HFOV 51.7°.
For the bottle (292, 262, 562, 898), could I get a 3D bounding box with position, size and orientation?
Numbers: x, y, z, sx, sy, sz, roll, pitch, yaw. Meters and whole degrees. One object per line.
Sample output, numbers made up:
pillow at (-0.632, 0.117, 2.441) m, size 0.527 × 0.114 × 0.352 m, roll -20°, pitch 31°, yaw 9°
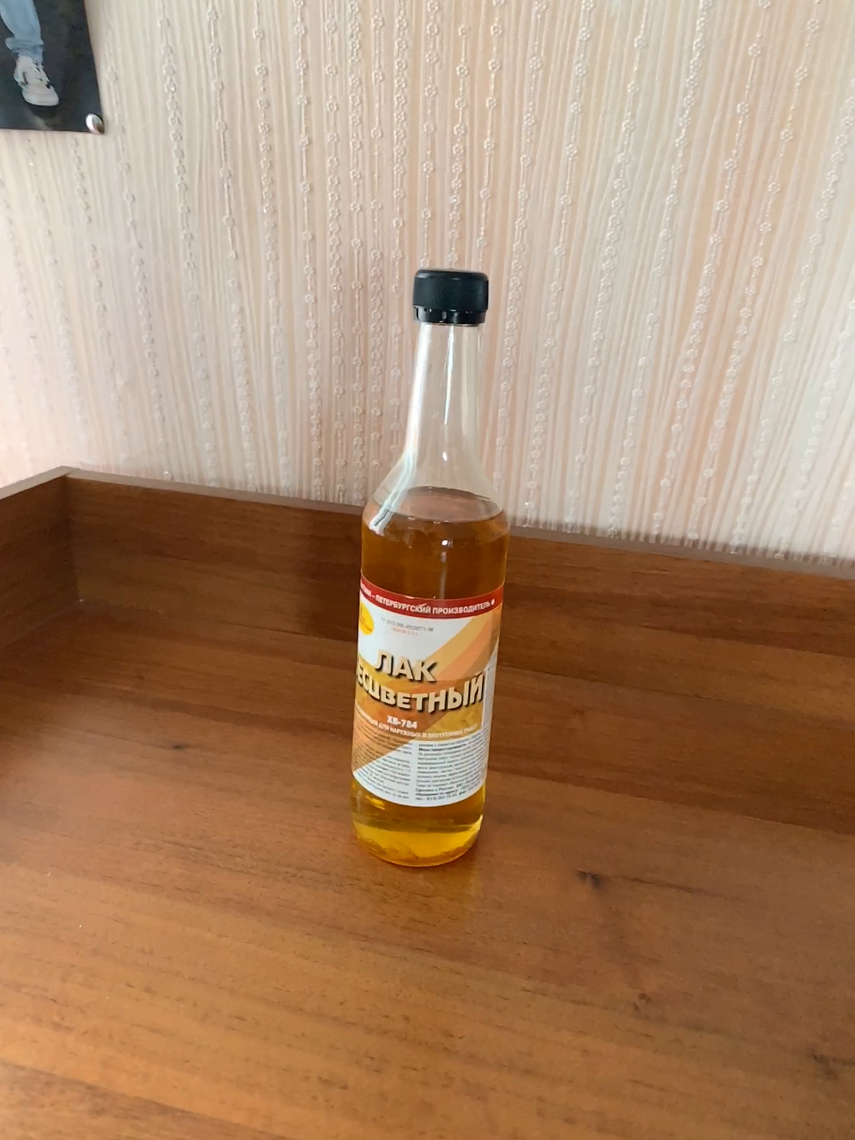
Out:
bottle at (-0.003, 0.005, 0.387) m, size 0.080 × 0.258 × 0.070 m, roll 10°, pitch 20°, yaw 14°
